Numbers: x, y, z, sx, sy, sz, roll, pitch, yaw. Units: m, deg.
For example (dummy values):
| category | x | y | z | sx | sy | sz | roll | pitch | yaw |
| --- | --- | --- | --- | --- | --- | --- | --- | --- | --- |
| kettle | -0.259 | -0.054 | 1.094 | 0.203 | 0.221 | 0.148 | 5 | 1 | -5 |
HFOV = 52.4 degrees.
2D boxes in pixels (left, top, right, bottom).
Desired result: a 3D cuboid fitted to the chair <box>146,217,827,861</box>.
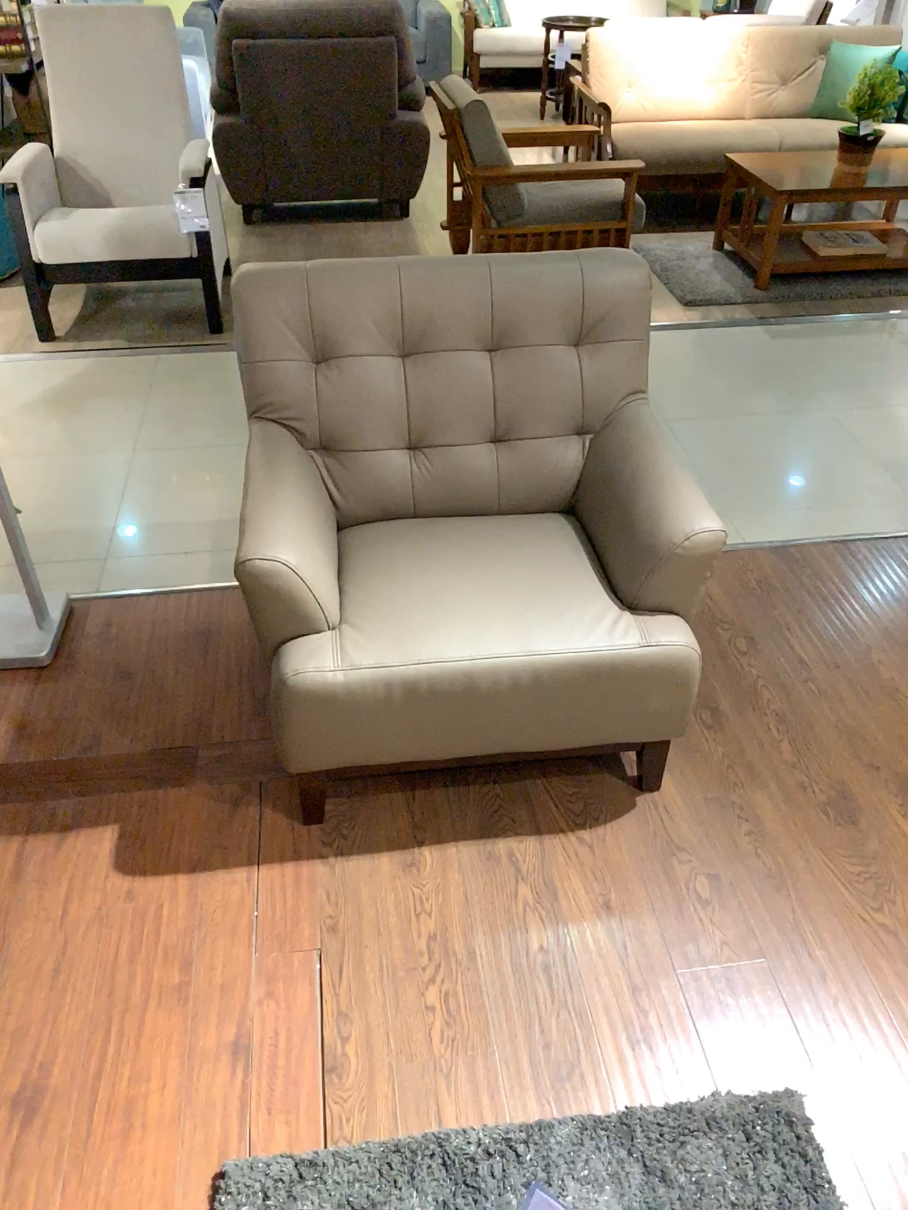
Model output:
| category | x | y | z | sx | sy | sz | roll | pitch | yaw |
| --- | --- | --- | --- | --- | --- | --- | --- | --- | --- |
| chair | -0.013 | -0.203 | 1.921 | 0.950 | 0.857 | 1.004 | -5 | 38 | -7 |
